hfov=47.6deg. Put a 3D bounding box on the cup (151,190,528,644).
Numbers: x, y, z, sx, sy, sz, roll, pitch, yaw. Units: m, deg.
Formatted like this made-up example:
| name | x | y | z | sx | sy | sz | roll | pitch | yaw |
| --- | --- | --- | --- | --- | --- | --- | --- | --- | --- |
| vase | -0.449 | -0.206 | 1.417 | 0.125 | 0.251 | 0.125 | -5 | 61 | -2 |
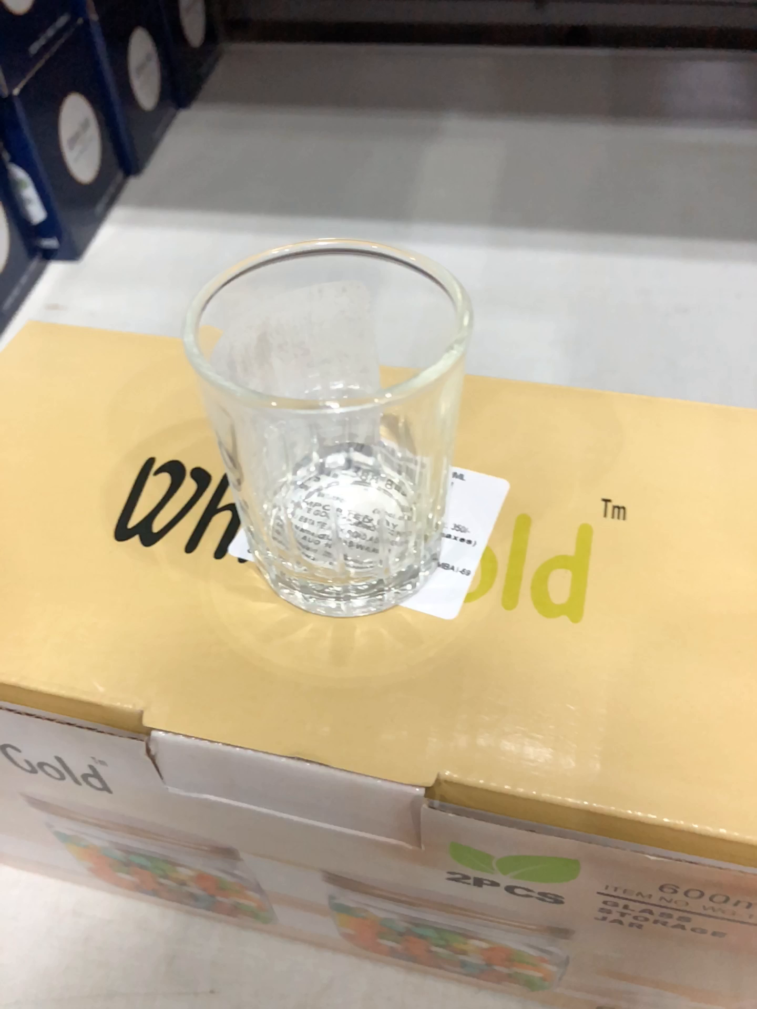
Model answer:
| name | x | y | z | sx | sy | sz | roll | pitch | yaw |
| --- | --- | --- | --- | --- | --- | --- | --- | --- | --- |
| cup | -0.004 | -0.014 | 0.153 | 0.050 | 0.060 | 0.050 | -2 | 49 | 2 |
